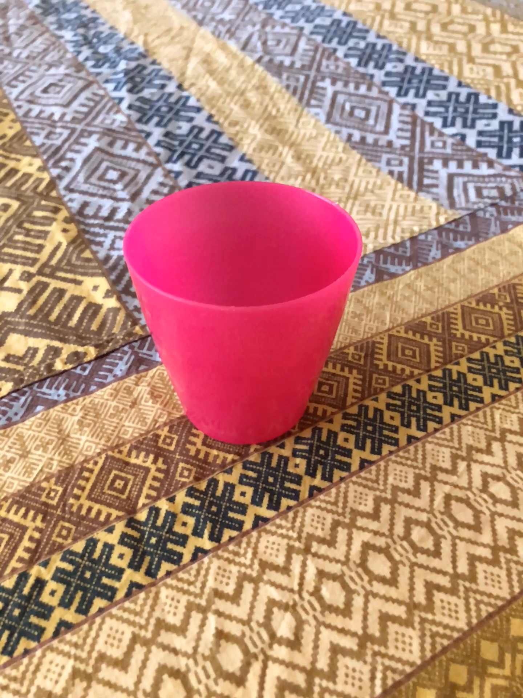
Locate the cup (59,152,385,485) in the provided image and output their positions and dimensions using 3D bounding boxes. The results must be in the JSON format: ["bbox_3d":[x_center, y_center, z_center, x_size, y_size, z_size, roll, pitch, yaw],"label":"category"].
[{"bbox_3d":[-0.010,-0.015,0.214,0.077,0.067,0.079,2,45,-2],"label":"cup"}]
